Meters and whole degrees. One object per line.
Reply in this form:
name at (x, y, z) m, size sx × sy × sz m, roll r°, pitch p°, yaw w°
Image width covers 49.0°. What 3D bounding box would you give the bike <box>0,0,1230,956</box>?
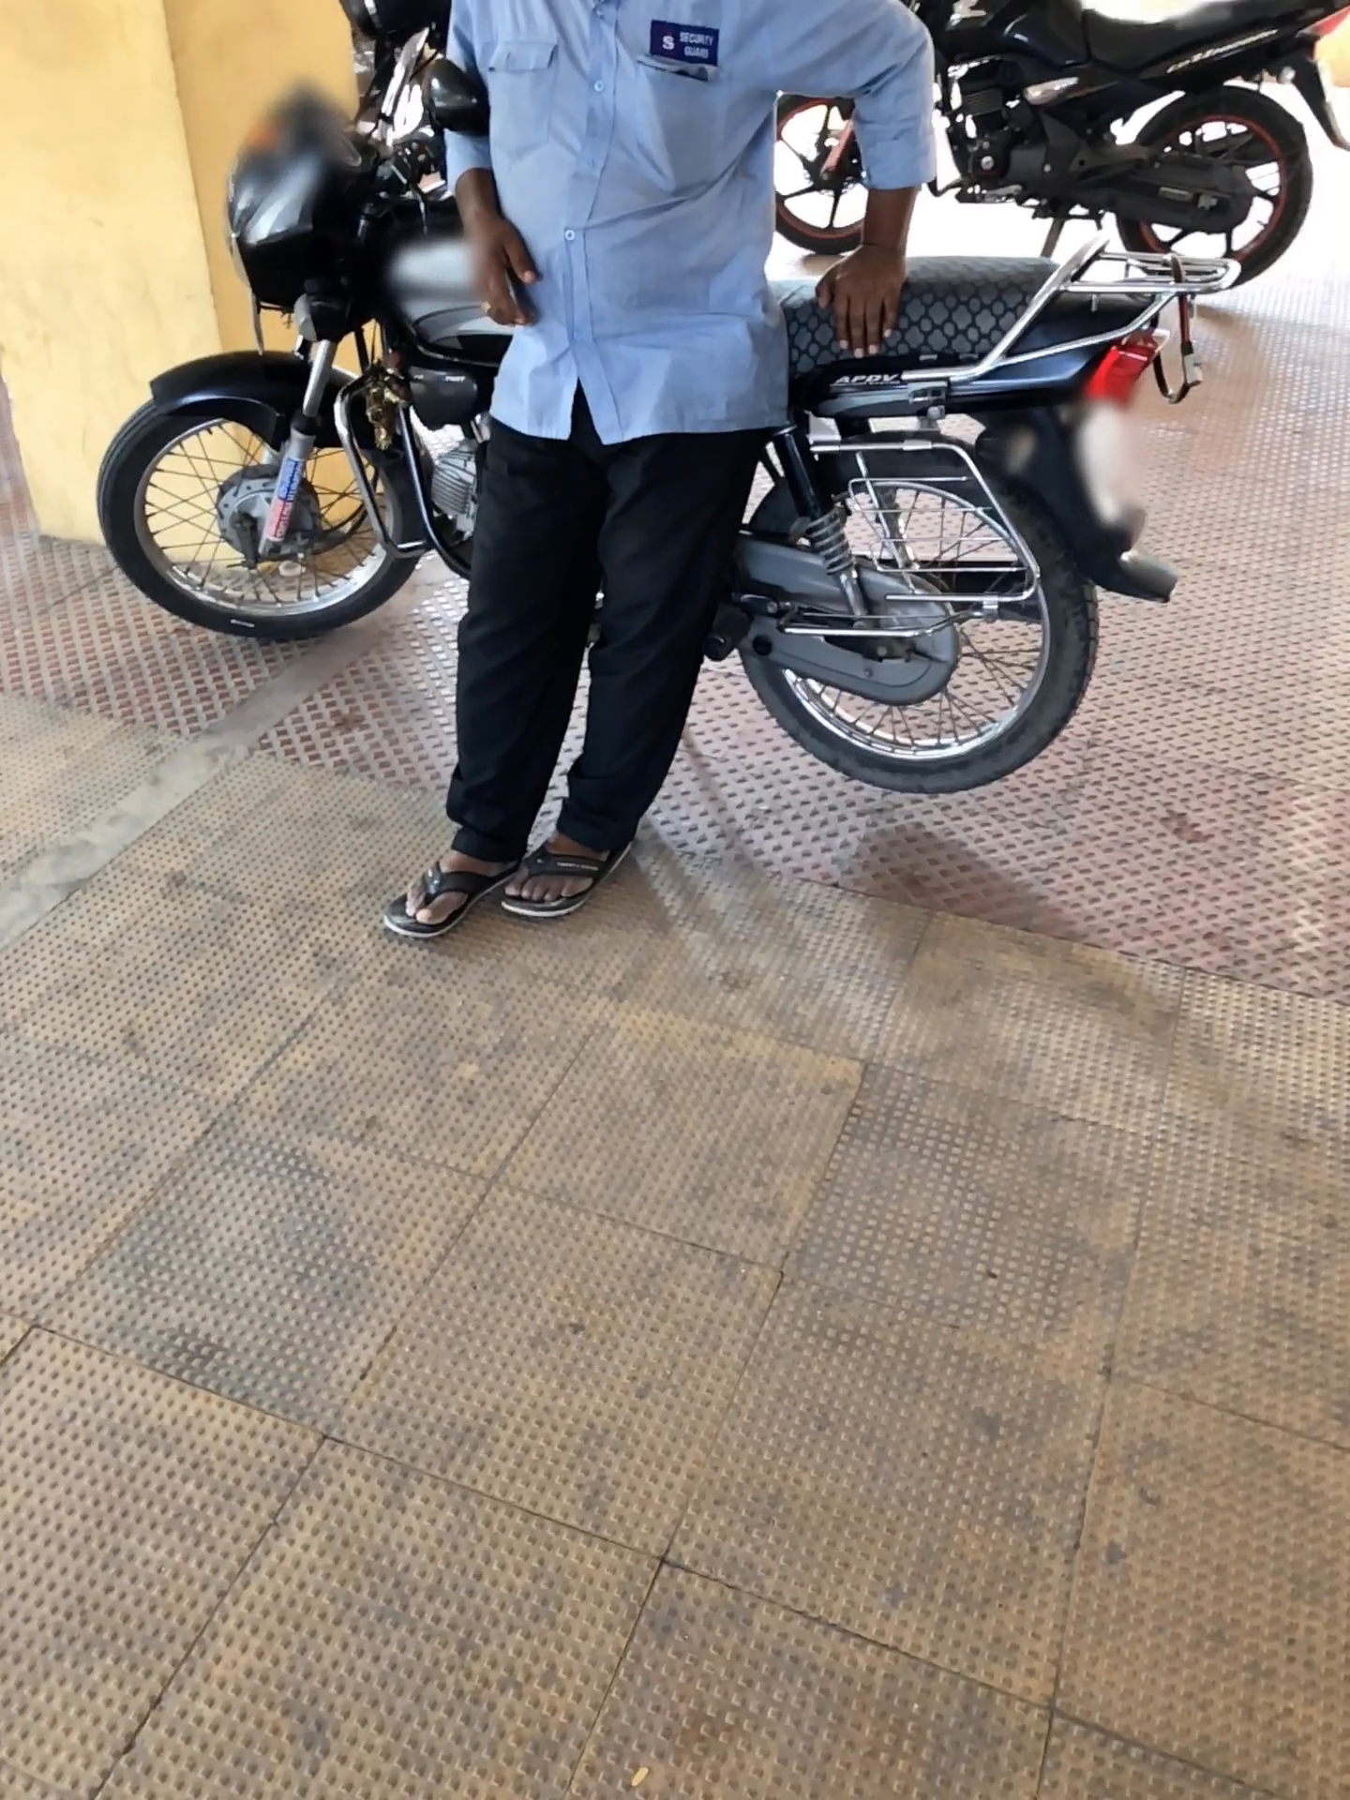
bike at (-0.221, -0.720, 2.214) m, size 1.674 × 1.036 × 0.682 m, roll 15°, pitch 39°, yaw 16°
